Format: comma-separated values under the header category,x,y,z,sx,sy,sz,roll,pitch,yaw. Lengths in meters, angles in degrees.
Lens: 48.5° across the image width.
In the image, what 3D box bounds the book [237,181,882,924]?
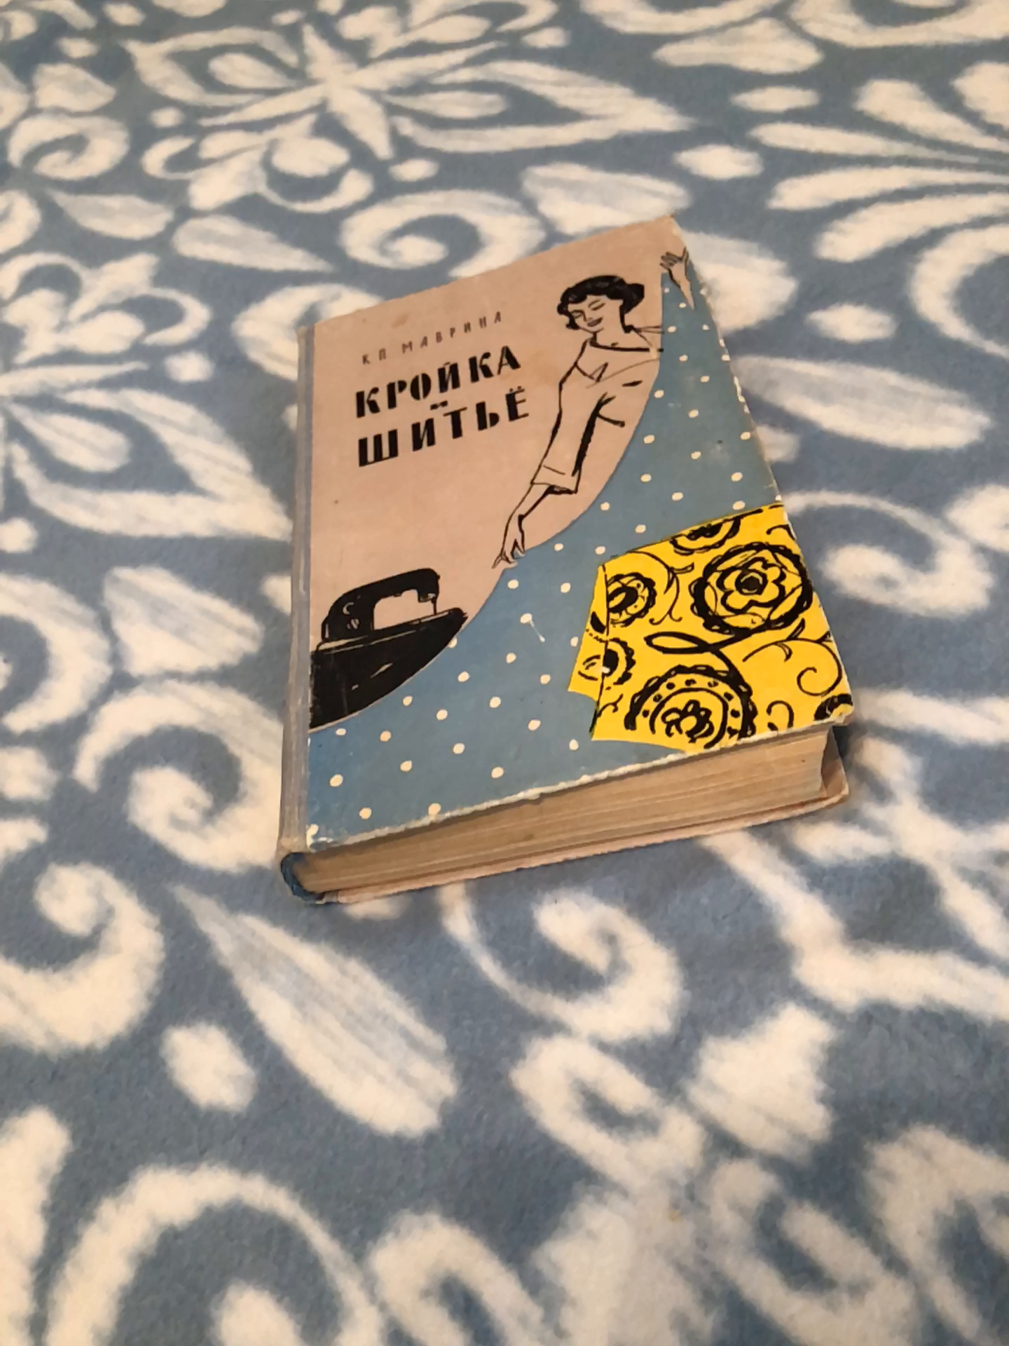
category,x,y,z,sx,sy,sz,roll,pitch,yaw
book,0.005,-0.052,0.343,0.152,0.037,0.232,-14,50,11
